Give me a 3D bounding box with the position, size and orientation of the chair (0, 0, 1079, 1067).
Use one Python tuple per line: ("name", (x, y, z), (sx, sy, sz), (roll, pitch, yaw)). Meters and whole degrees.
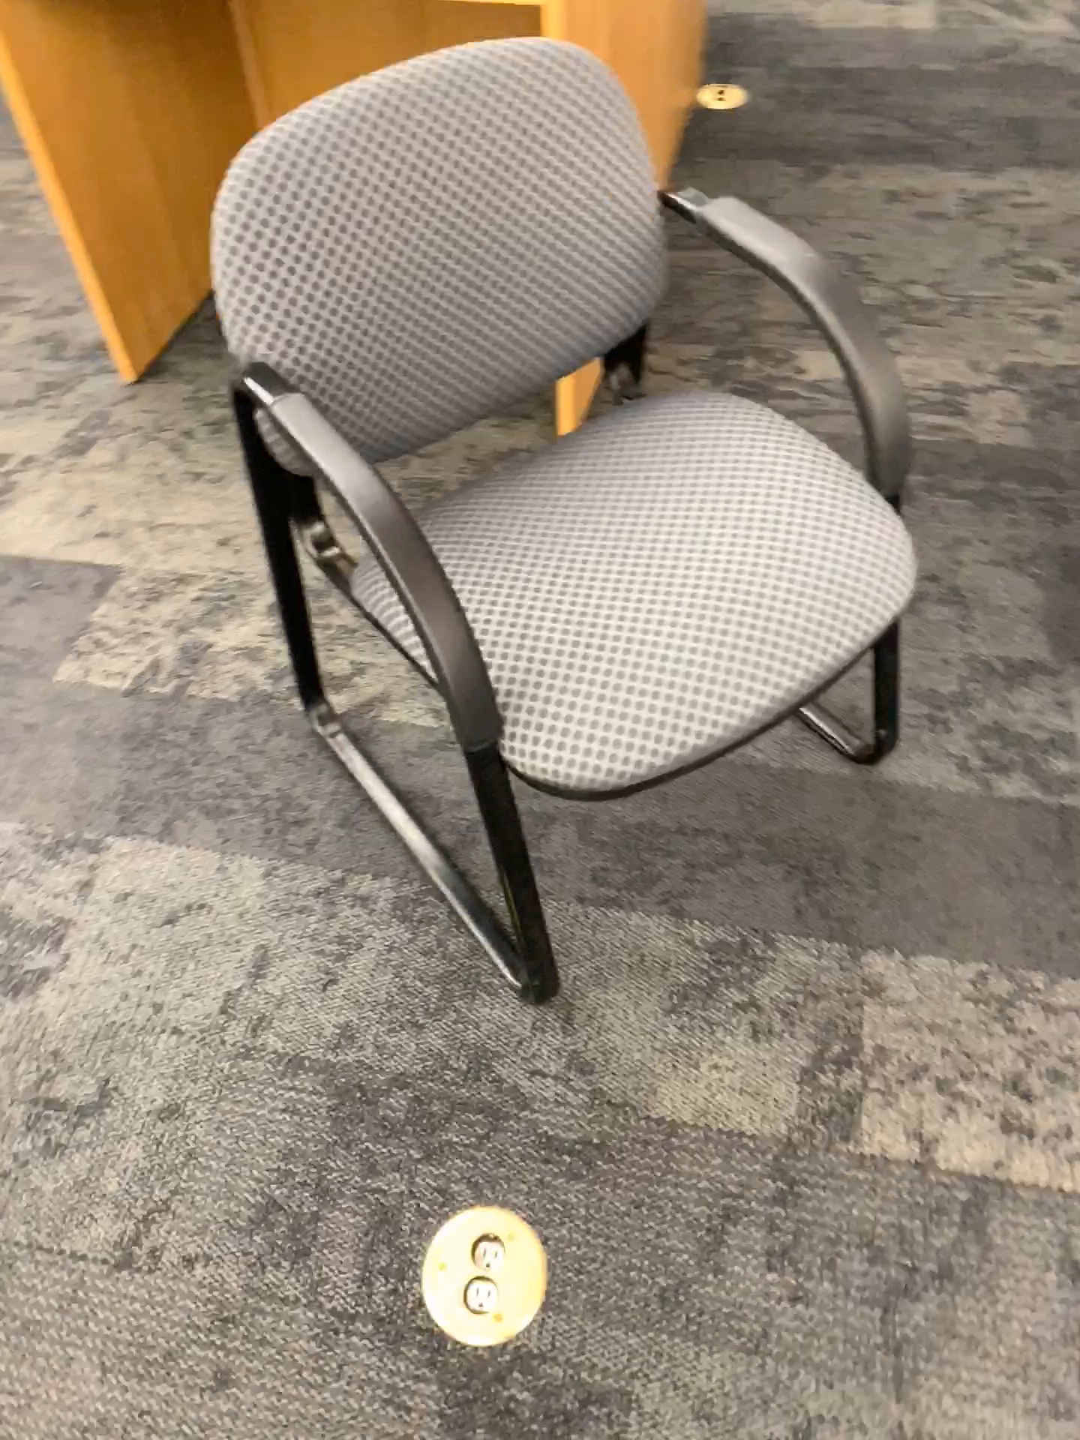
("chair", (0.019, -0.244, 1.201), (0.730, 0.677, 0.723), (-31, 56, -19))
